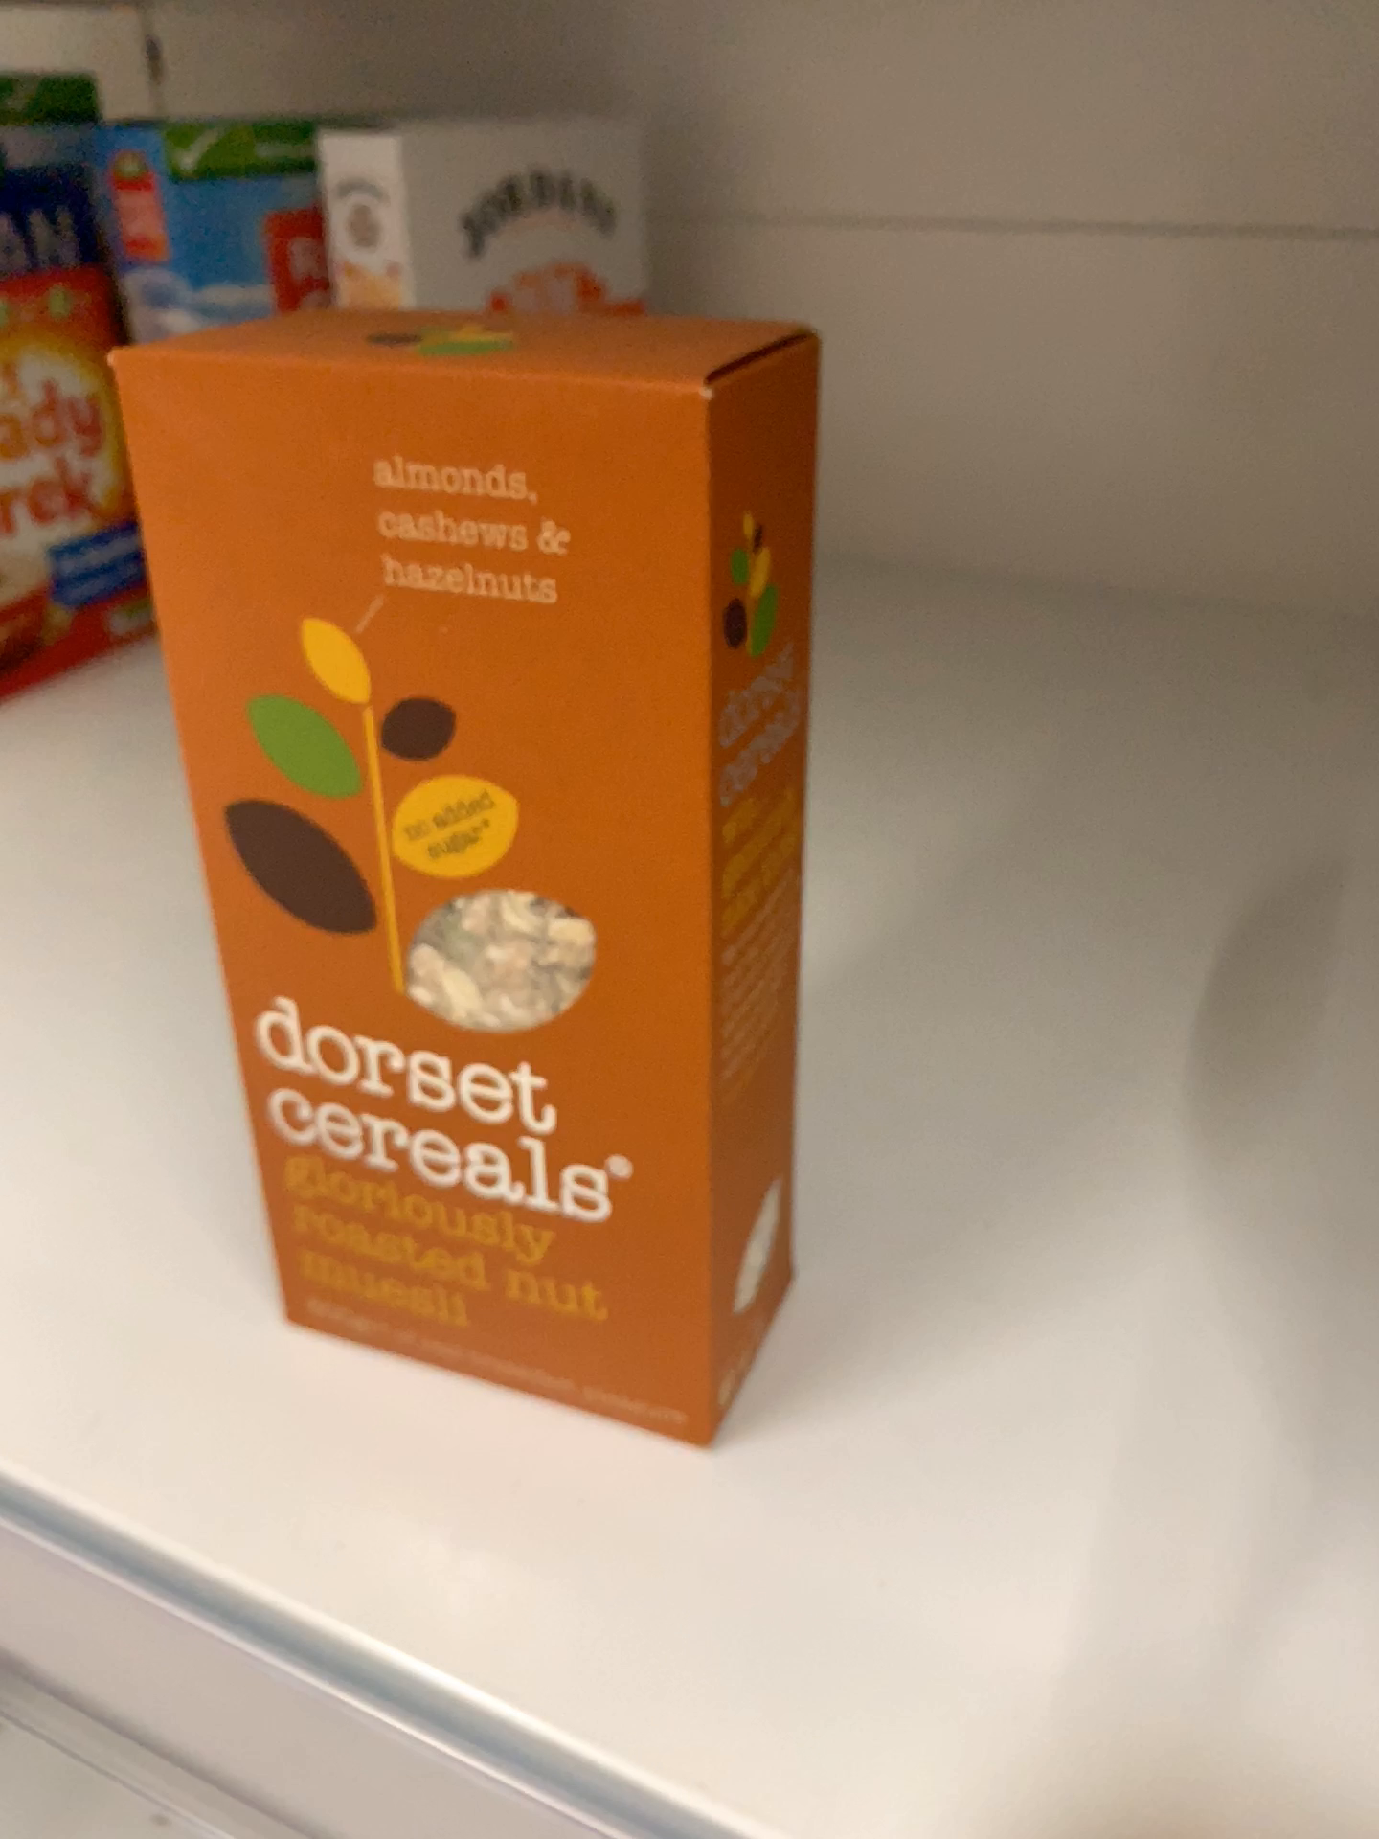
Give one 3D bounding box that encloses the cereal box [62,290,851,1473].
[{"bbox_3d":[-0.036,-0.003,0.305,0.120,0.228,0.060,10,31,19],"label":"cereal box"}]
